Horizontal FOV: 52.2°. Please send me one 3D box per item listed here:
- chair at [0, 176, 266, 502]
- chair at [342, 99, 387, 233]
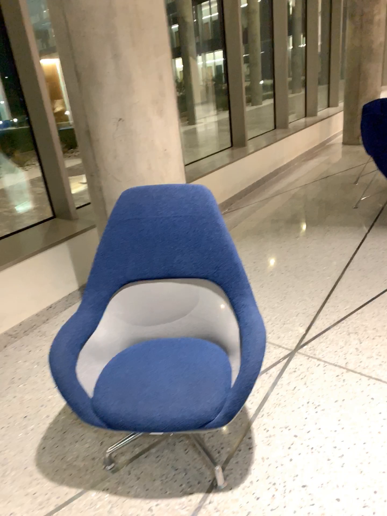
[{"bbox_3d":[-0.123,0.254,1.526,0.715,0.963,0.638,0,24,15],"label":"chair"},{"bbox_3d":[1.688,-0.765,3.170,0.694,0.855,0.683,-7,23,-2],"label":"chair"}]
